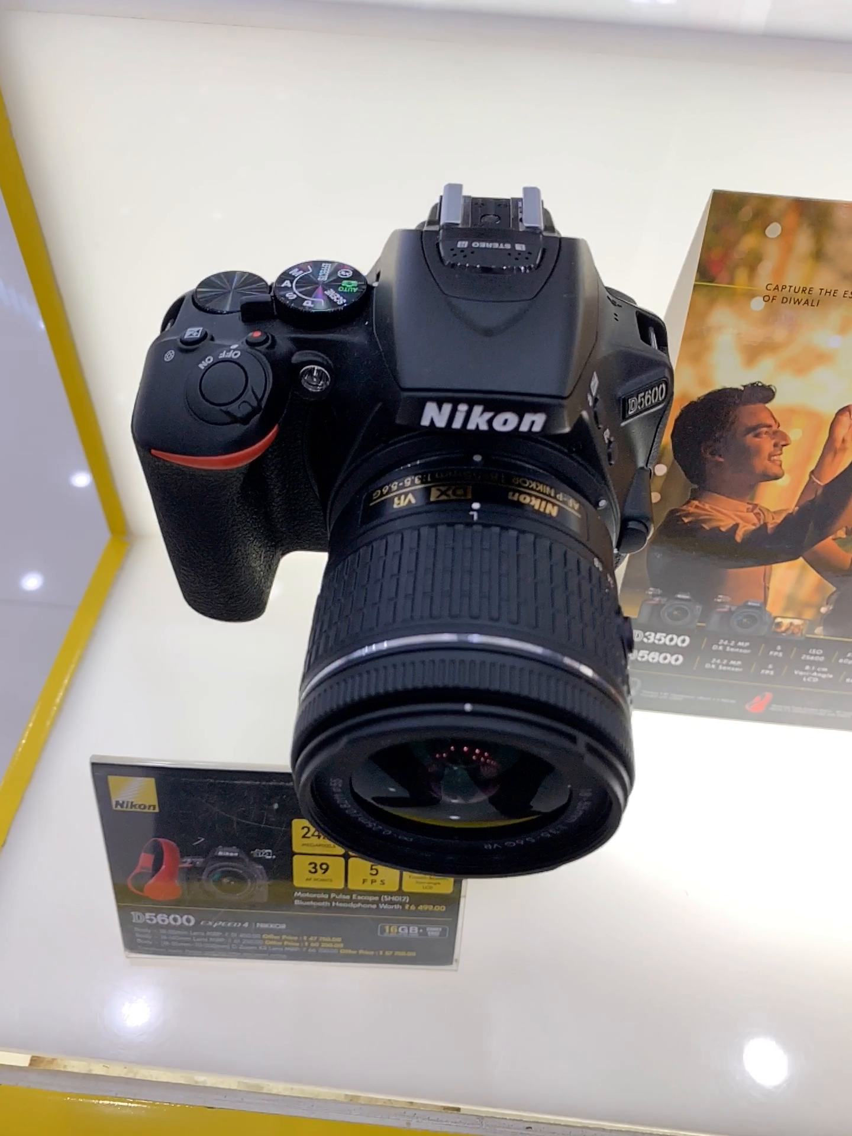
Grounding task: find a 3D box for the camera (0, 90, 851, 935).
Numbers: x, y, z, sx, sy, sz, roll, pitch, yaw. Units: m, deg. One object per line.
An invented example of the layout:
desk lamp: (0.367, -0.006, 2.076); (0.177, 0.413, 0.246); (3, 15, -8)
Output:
camera: (0.007, -0.022, 0.191); (0.120, 0.090, 0.161); (3, 48, 0)
